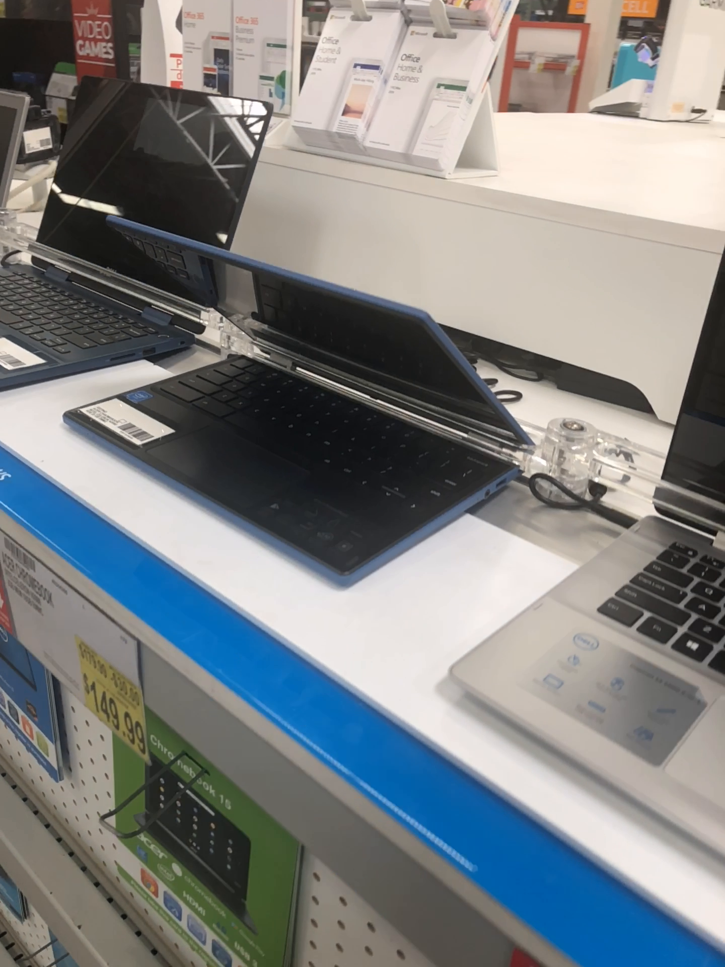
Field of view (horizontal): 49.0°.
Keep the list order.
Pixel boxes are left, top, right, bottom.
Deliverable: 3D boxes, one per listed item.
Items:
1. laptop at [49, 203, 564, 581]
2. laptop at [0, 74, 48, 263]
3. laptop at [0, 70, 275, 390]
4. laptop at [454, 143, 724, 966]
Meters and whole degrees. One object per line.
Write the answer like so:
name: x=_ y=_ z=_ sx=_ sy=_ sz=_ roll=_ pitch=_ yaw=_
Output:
laptop: x=-0.046 y=-0.088 z=0.540 sx=0.280 sy=0.128 sz=0.187 roll=26 pitch=37 yaw=34
laptop: x=-0.621 y=-0.416 z=1.023 sx=0.259 sy=0.172 sz=0.305 roll=-23 pitch=38 yaw=-40
laptop: x=-0.311 y=-0.272 z=0.768 sx=0.325 sy=0.196 sz=0.319 roll=26 pitch=35 yaw=34
laptop: x=0.234 y=0.009 z=0.308 sx=0.296 sy=0.211 sz=0.222 roll=27 pitch=37 yaw=36
